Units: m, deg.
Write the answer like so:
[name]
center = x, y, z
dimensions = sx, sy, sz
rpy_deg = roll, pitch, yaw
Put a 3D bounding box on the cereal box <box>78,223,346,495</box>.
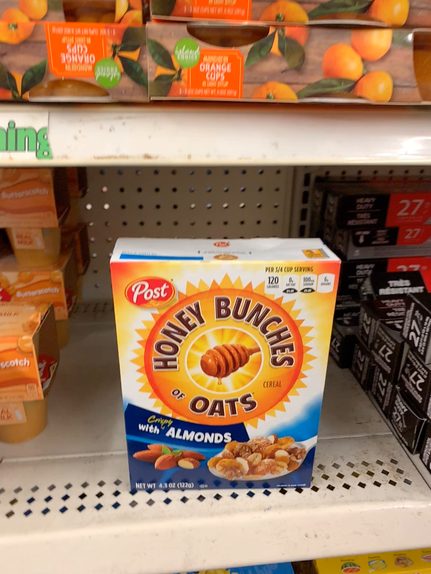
[cereal box]
center = -0.002, 0.055, 0.312
dimensions = 0.150, 0.189, 0.050
rpy_deg = 0, 24, -1
